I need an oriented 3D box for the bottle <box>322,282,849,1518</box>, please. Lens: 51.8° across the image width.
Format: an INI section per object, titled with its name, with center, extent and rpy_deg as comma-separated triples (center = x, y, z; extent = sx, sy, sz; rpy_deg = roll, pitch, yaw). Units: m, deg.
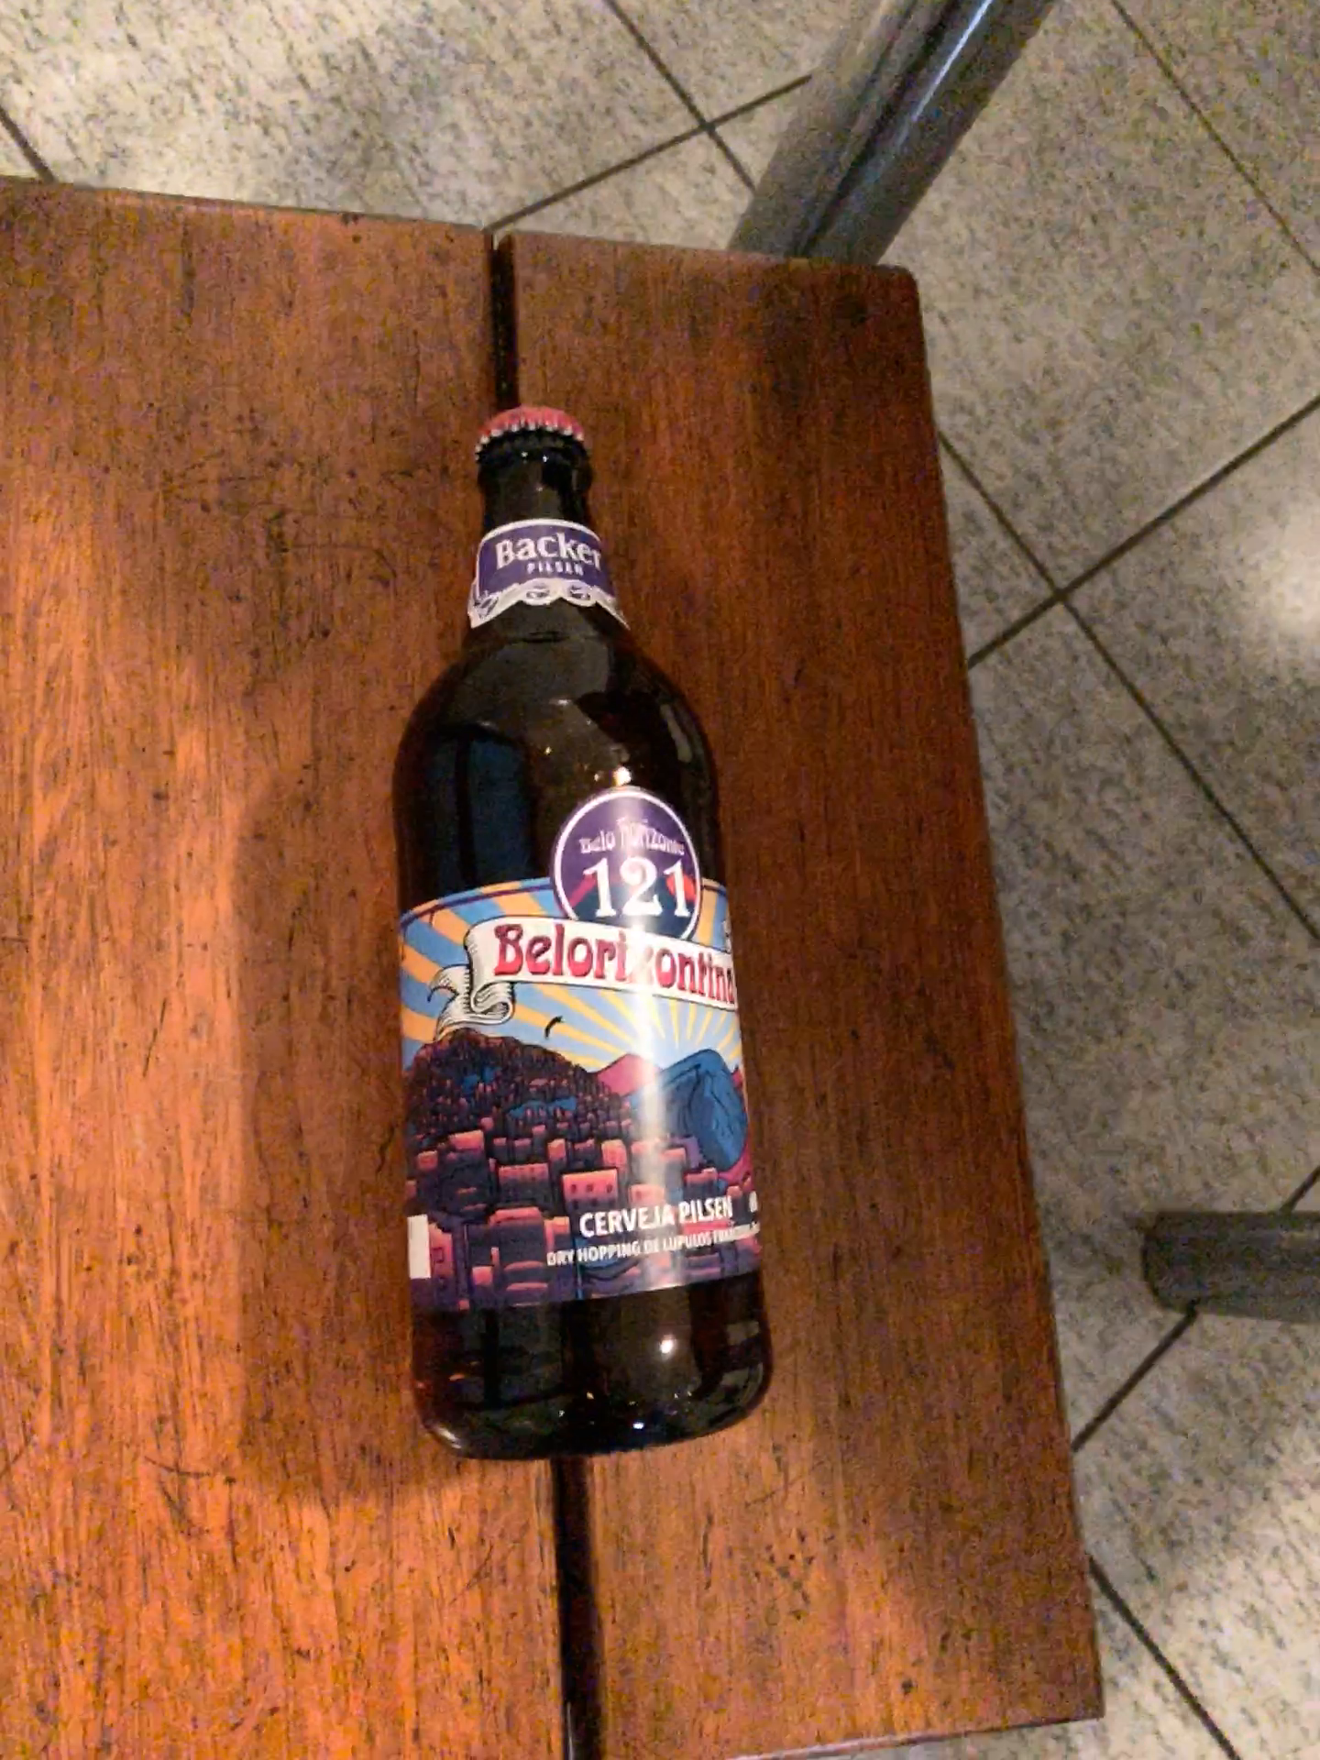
[bottle]
center = -0.022, -0.002, 0.297
extent = 0.080, 0.050, 0.240
rpy_deg = -1, 77, -25
